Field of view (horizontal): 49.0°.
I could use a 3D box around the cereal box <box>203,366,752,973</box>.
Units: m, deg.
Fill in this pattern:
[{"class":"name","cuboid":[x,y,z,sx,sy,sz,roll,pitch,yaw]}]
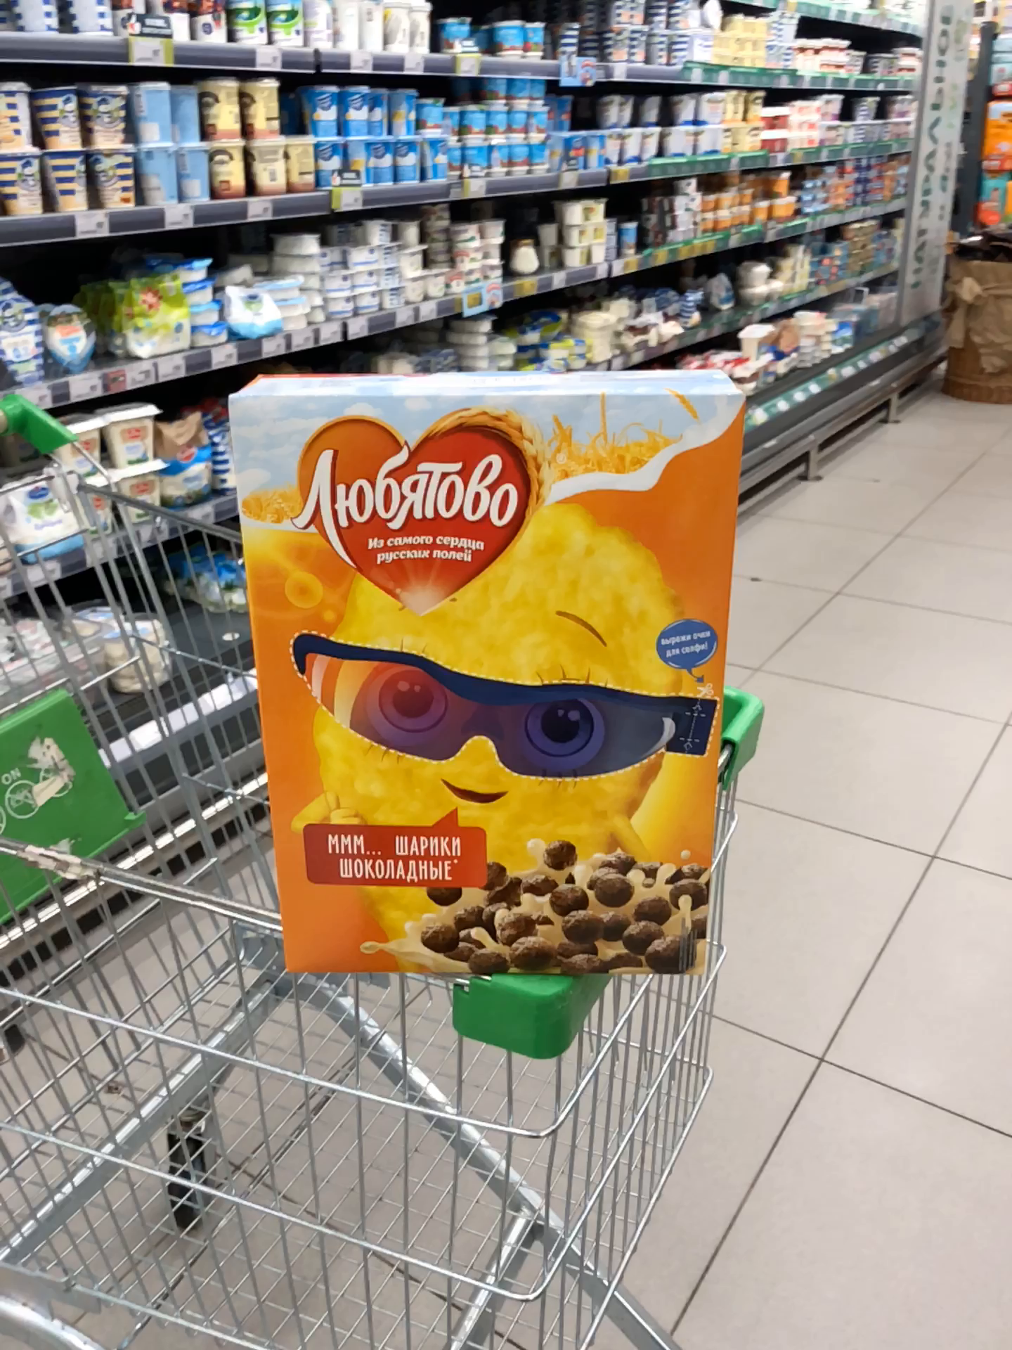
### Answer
[{"class":"cereal box","cuboid":[-0.009,0.005,0.476,0.200,0.259,0.050,0,22,1]}]
